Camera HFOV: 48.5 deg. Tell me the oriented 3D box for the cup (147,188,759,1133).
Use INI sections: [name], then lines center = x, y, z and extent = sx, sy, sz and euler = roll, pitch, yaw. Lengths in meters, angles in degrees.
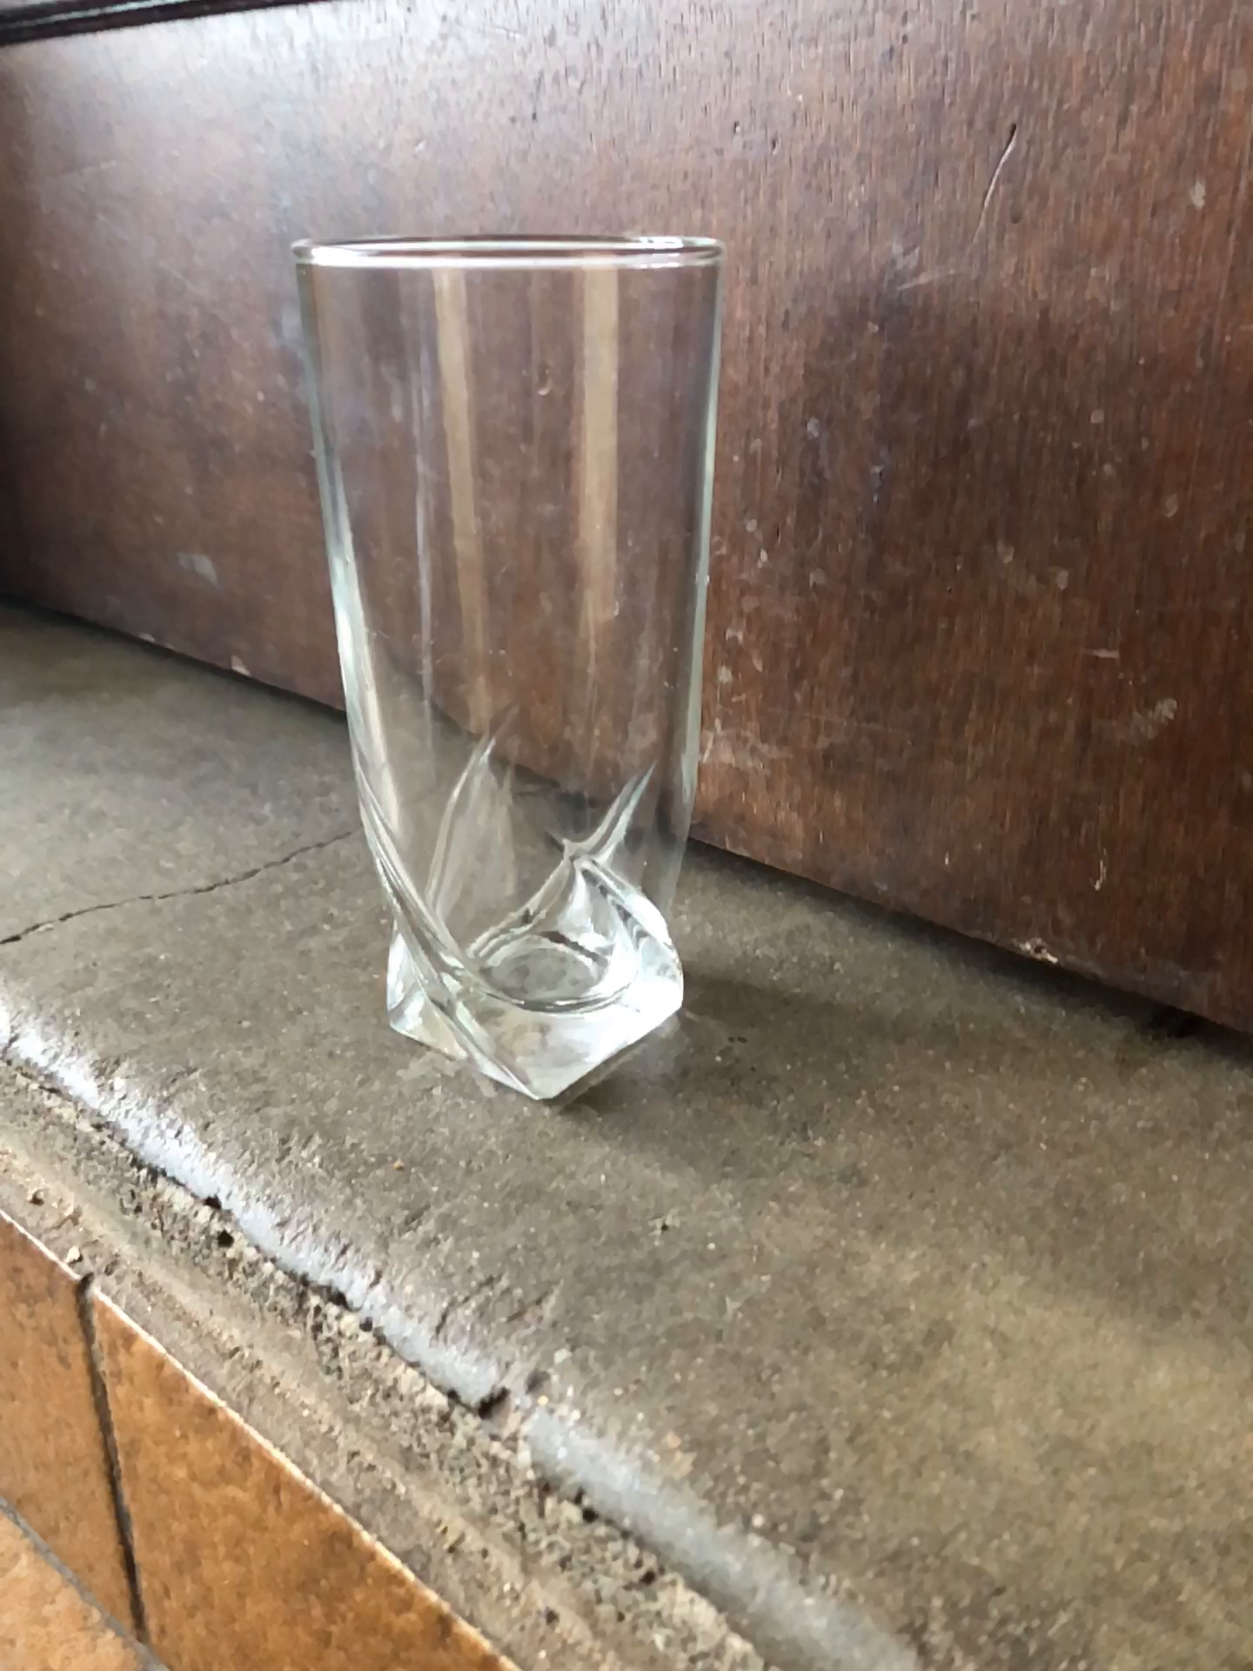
[cup]
center = -0.026, -0.034, 0.239
extent = 0.070, 0.139, 0.060
euler = 18, 30, 35
